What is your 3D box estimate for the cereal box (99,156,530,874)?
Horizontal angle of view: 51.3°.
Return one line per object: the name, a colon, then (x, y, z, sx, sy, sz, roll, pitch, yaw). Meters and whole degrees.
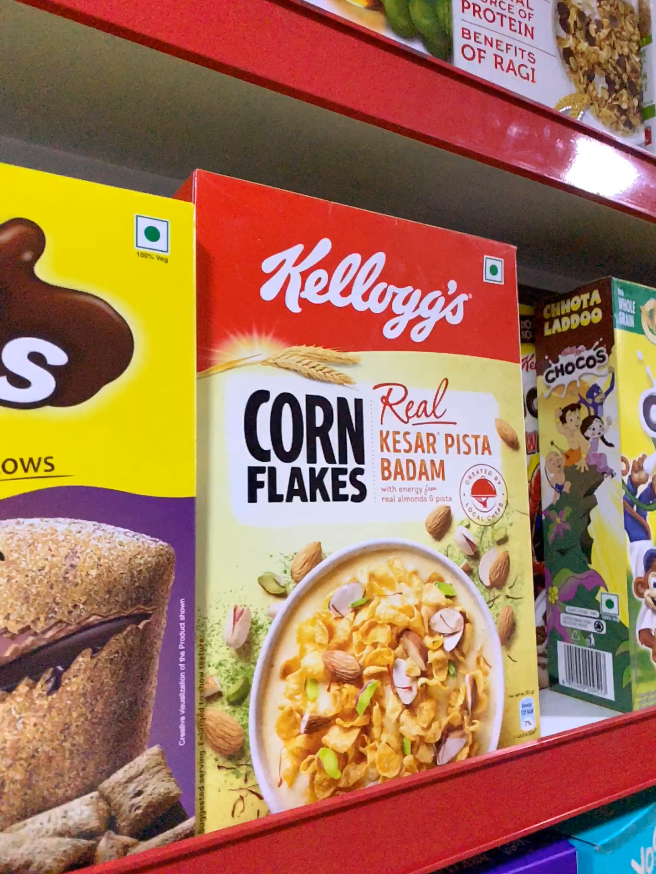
cereal box: (-0.002, 0.027, 0.316, 0.180, 0.251, 0.070, 3, -7, -31)
